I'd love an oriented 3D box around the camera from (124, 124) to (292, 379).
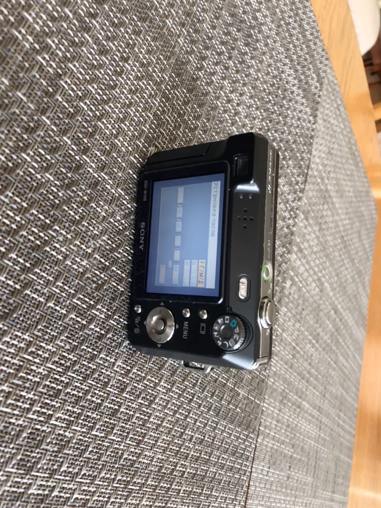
[{"bbox_3d":[0.010,0.001,0.192,0.049,0.052,0.095,13,79,-55],"label":"camera"}]
